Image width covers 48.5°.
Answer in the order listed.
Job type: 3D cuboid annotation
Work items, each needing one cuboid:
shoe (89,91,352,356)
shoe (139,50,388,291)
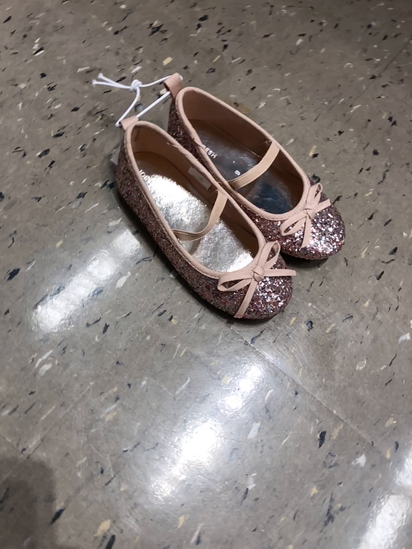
[{"bbox_3d":[0.003,-0.034,0.312,0.160,0.070,0.070,44,66,10],"label":"shoe"},{"bbox_3d":[0.035,-0.075,0.339,0.160,0.070,0.070,40,66,8],"label":"shoe"}]
